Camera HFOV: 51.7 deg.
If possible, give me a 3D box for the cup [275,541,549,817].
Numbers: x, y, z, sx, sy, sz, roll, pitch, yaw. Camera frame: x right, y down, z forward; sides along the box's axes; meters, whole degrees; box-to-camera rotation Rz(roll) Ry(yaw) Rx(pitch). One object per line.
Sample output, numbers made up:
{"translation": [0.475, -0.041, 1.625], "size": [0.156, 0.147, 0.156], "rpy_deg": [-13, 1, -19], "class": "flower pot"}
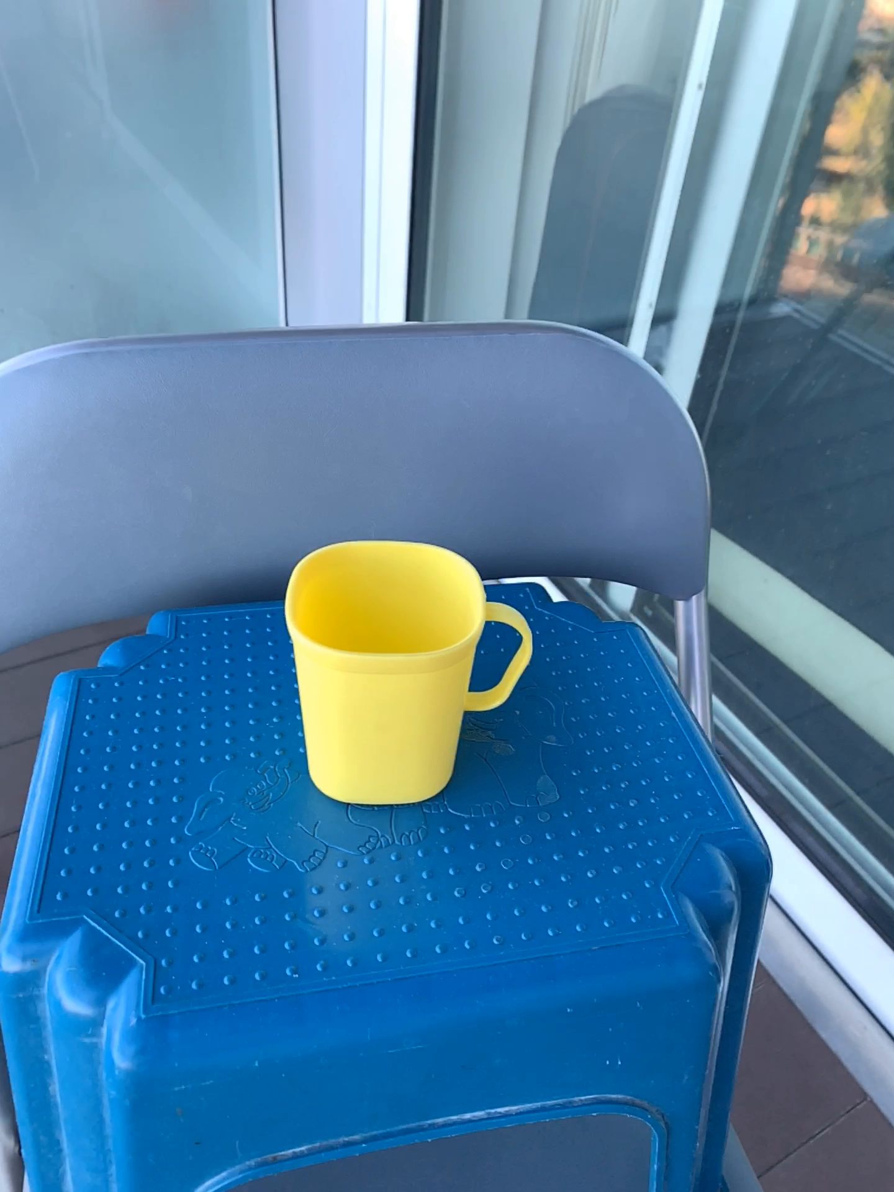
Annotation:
{"translation": [-0.014, 0.030, 0.349], "size": [0.089, 0.077, 0.068], "rpy_deg": [0, 36, -4], "class": "cup"}
